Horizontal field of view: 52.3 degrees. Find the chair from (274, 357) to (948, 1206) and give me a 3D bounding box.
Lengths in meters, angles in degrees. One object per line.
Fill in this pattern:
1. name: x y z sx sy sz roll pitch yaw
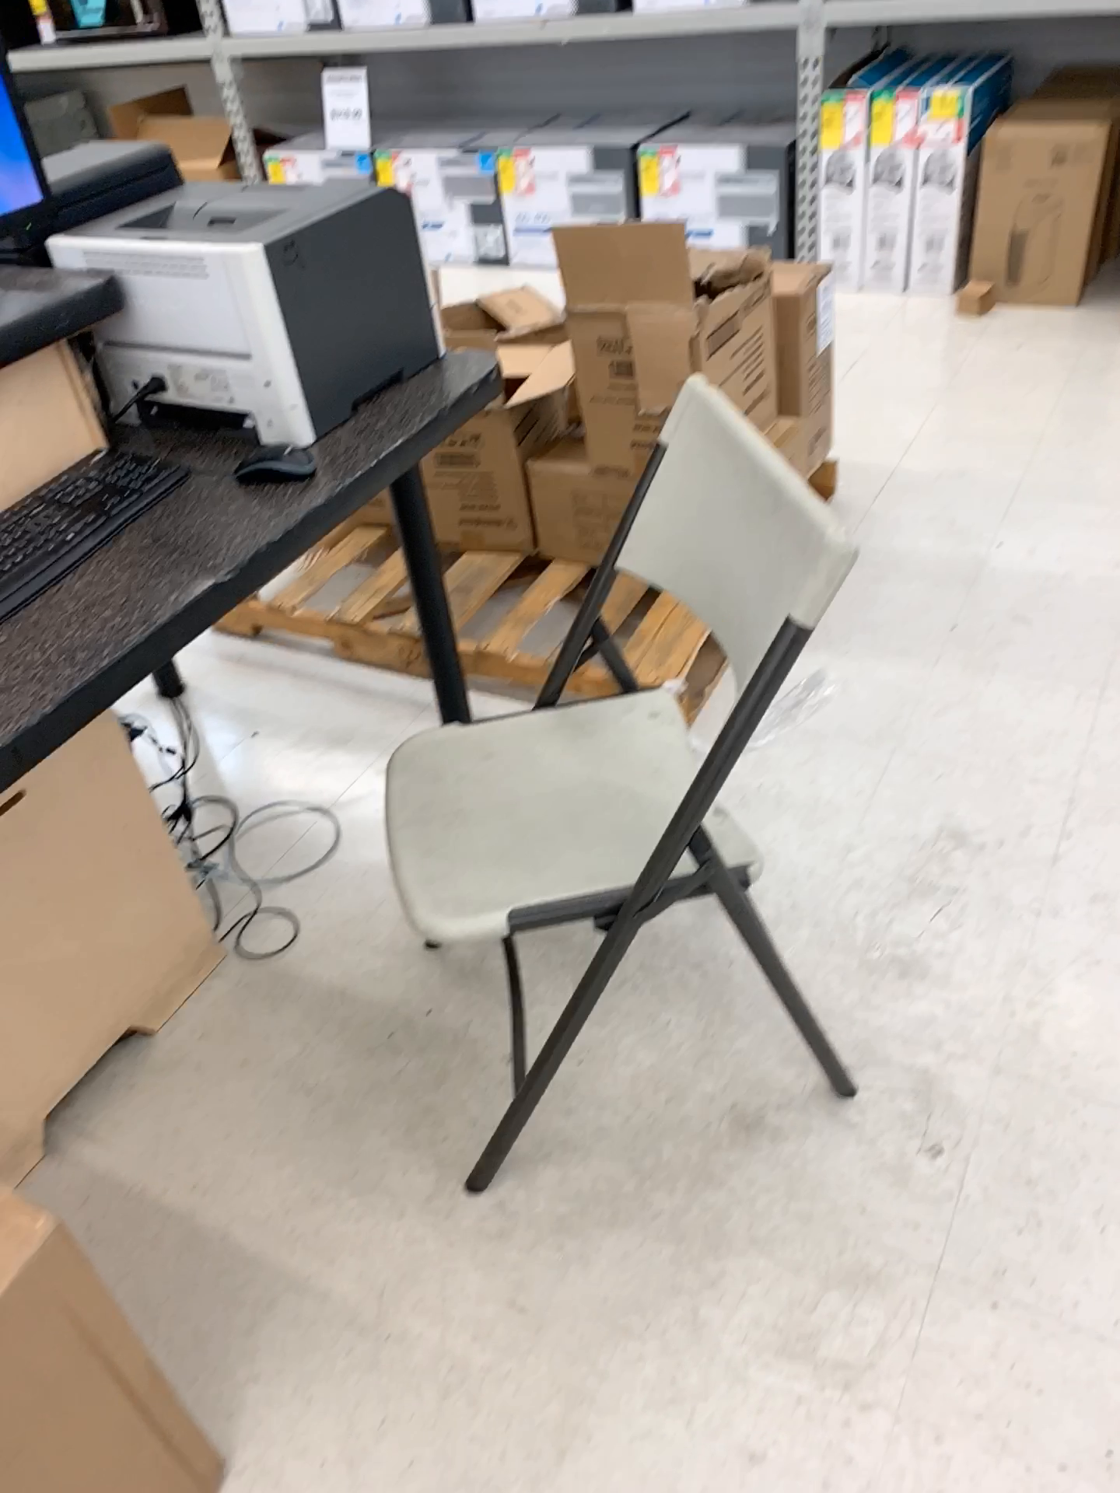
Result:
1. chair: 0.042 0.040 1.372 0.560 0.746 0.533 -13 38 -6
